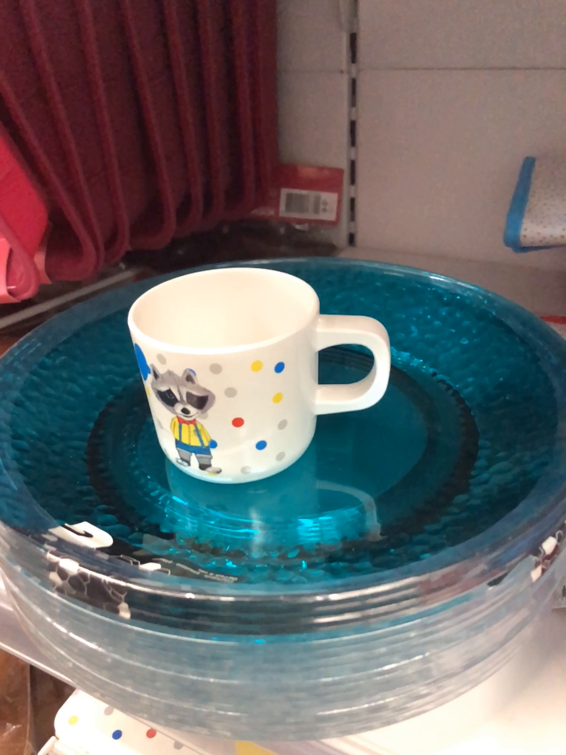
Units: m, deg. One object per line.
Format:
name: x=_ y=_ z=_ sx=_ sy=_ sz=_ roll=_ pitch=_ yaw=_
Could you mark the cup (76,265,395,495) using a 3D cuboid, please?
cup: x=-0.011 y=-0.004 z=0.260 sx=0.109 sy=0.059 sz=0.081 roll=1 pitch=31 yaw=7
